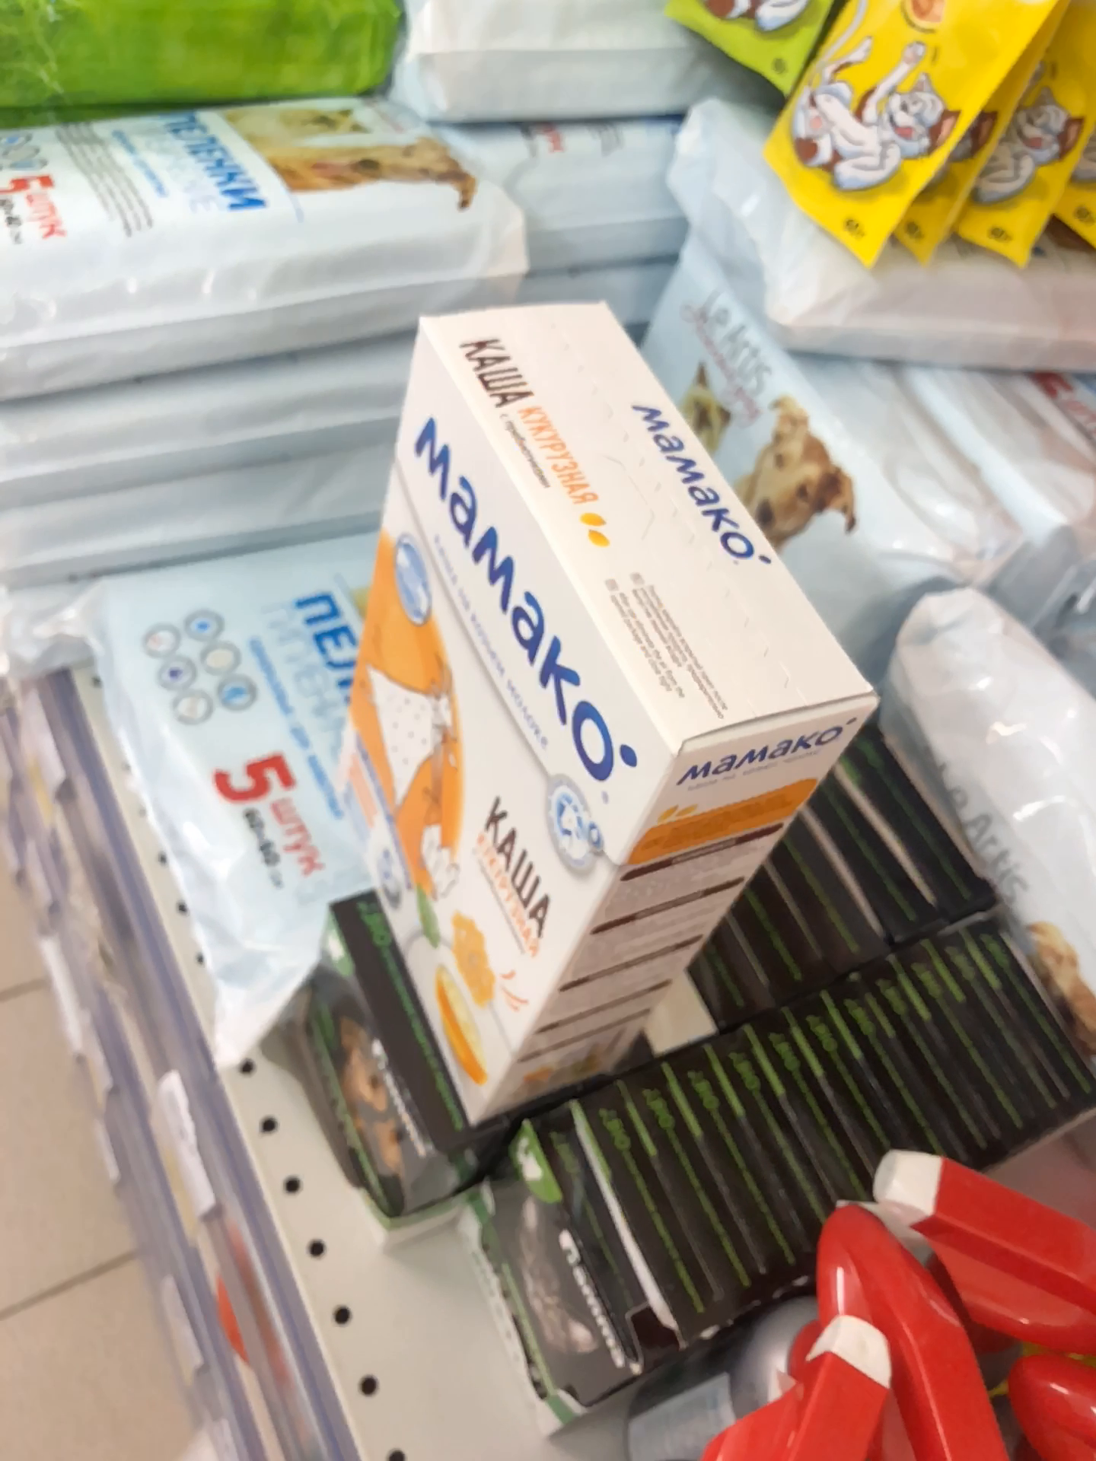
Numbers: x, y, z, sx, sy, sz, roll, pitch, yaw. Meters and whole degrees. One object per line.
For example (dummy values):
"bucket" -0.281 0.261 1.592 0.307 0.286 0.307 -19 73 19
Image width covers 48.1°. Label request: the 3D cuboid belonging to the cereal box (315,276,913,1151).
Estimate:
"cereal box" -0.006 0.008 0.332 0.050 0.199 0.140 -13 60 -26
